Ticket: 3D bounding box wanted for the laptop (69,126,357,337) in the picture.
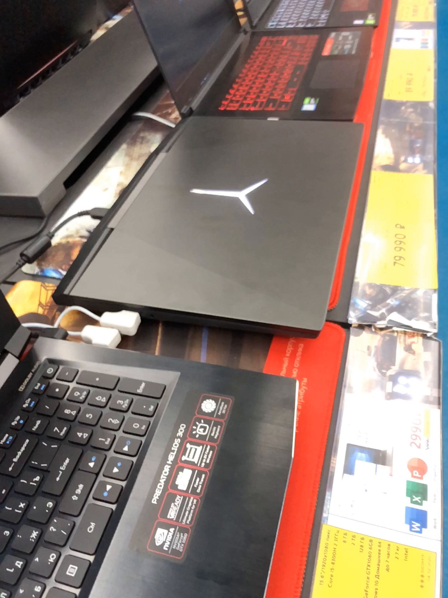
[{"bbox_3d":[0.012,-0.105,0.553,0.227,0.007,0.345,7,47,17],"label":"laptop"}]
